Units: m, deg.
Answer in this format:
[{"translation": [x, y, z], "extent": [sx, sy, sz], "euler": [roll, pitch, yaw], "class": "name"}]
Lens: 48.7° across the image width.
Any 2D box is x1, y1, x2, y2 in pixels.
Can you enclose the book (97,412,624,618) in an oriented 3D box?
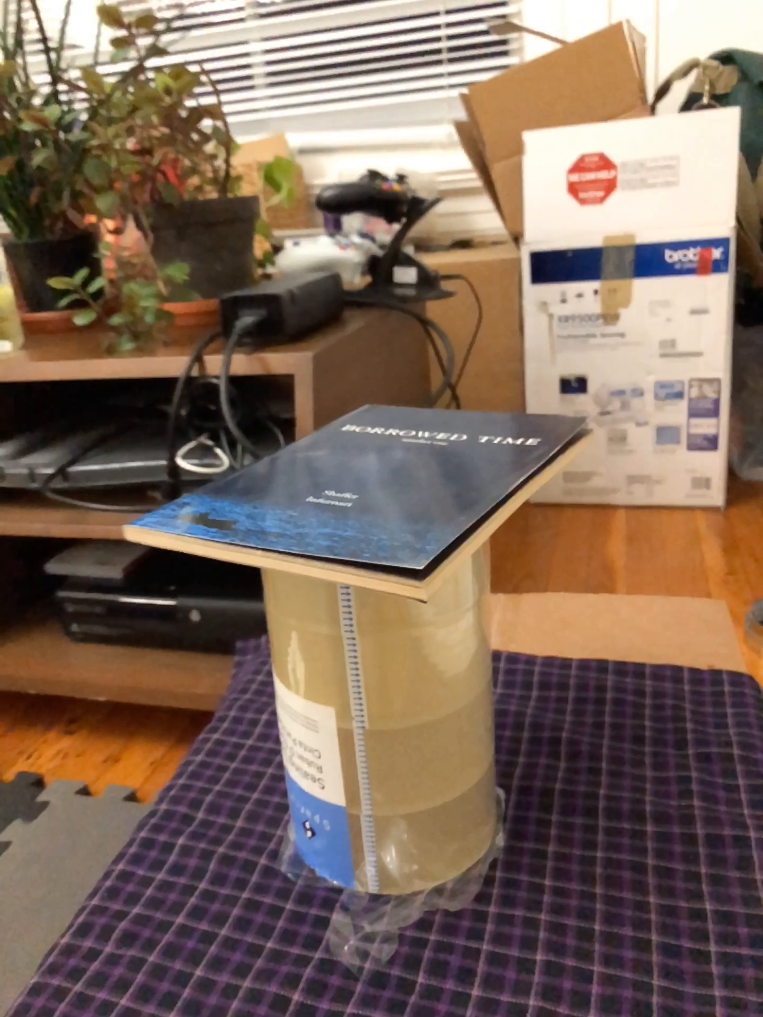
[{"translation": [0.008, -0.013, 0.408], "extent": [0.160, 0.010, 0.231], "euler": [7, 21, 29], "class": "book"}]
